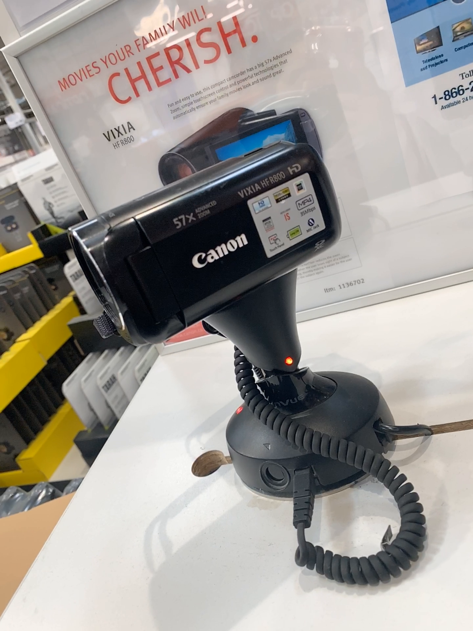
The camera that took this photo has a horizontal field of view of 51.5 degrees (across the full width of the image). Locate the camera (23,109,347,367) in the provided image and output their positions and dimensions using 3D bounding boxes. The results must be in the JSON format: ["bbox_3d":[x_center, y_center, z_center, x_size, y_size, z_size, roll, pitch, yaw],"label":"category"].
[{"bbox_3d":[-0.021,-0.037,0.210,0.113,0.054,0.058,-30,23,-21],"label":"camera"}]
